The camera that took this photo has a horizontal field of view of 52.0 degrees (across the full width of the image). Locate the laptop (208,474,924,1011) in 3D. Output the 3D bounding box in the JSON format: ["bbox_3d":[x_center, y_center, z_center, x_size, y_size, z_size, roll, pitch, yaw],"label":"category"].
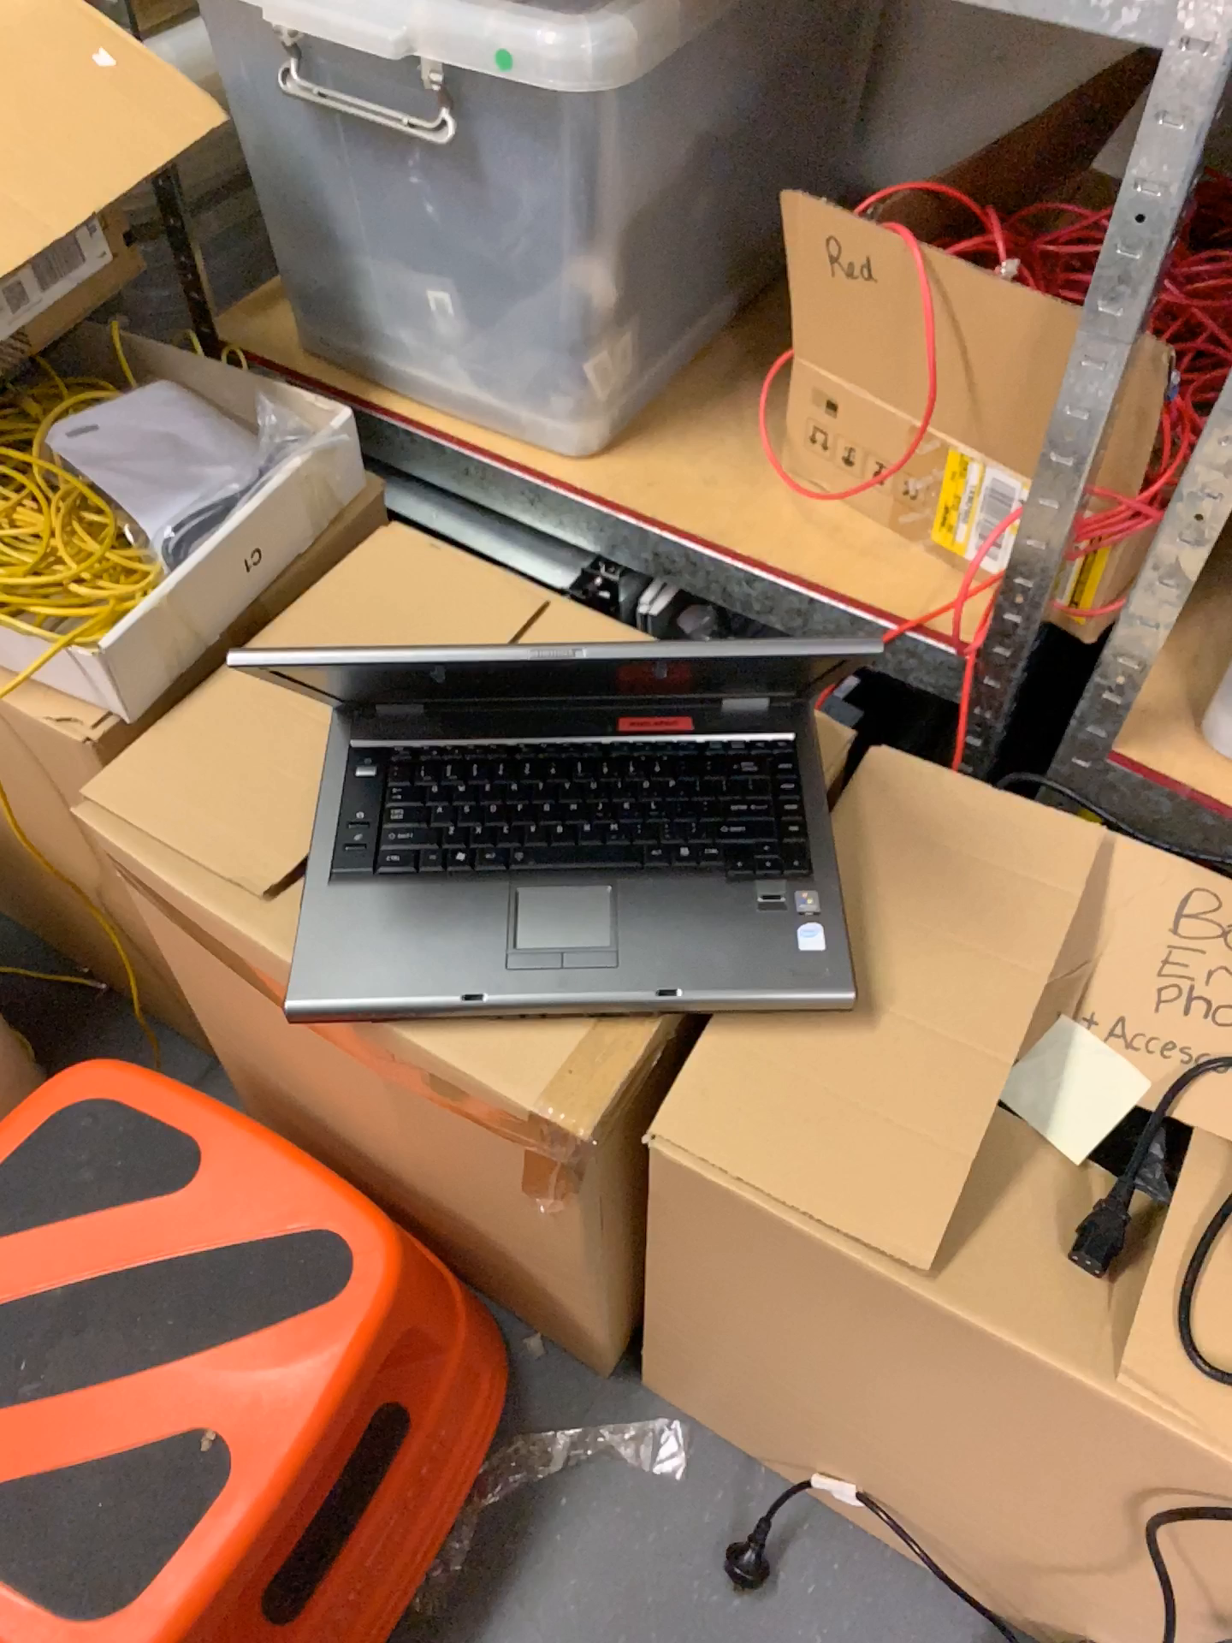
[{"bbox_3d":[-0.030,-0.047,0.779,0.352,0.203,0.254,-1,52,1],"label":"laptop"}]
